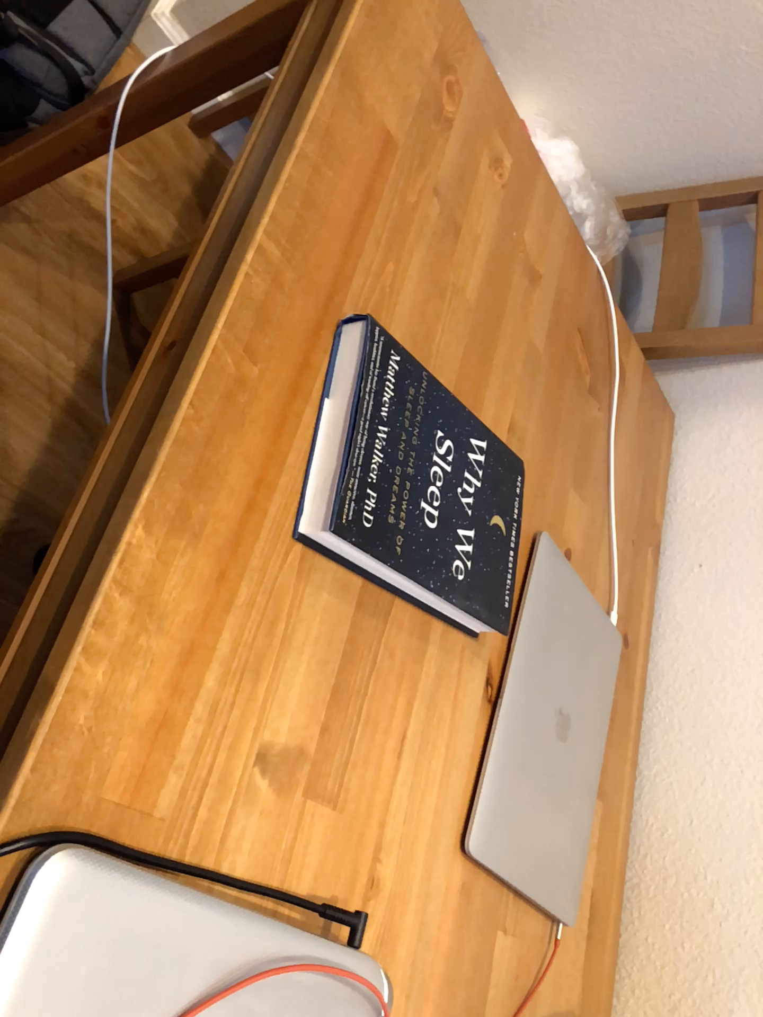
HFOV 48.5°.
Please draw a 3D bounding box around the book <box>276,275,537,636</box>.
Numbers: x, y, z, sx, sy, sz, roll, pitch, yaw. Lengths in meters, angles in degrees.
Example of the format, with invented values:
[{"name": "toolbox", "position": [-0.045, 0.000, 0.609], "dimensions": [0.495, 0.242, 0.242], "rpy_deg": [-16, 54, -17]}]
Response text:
[{"name": "book", "position": [0.035, -0.023, 0.609], "dimensions": [0.241, 0.040, 0.170], "rpy_deg": [34, 58, -48]}]
